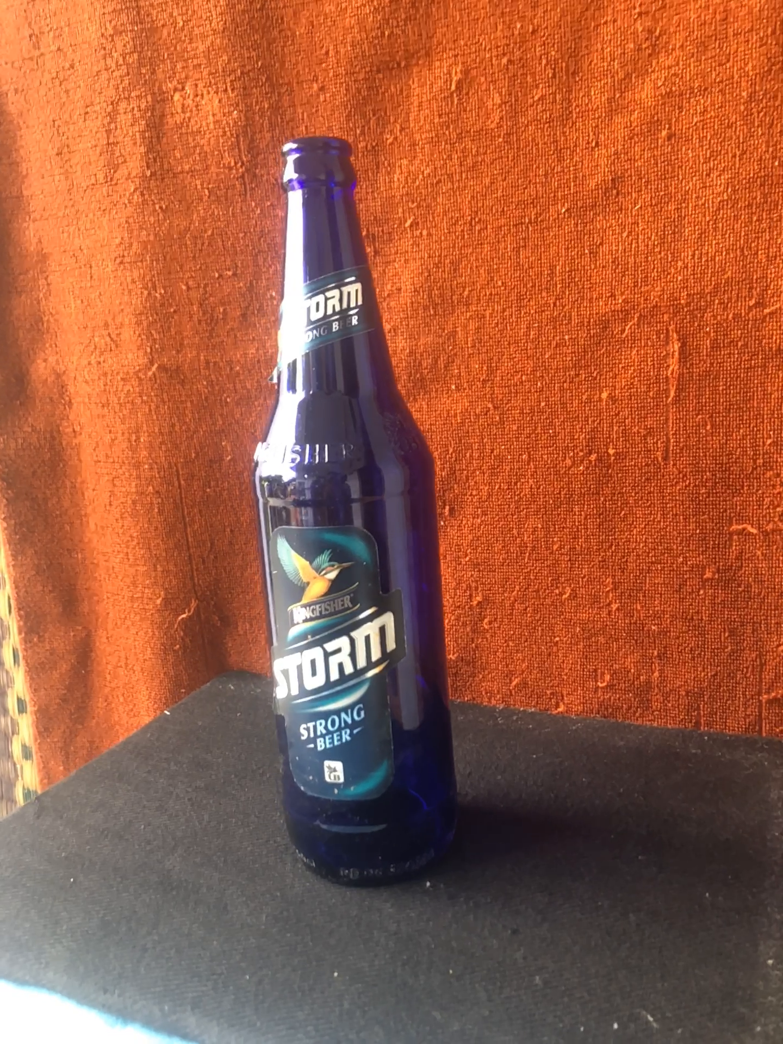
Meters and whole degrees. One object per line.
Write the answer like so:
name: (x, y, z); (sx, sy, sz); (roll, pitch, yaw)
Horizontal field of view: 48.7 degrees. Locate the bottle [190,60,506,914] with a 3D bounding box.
bottle: (-0.005, -0.006, 0.325); (0.080, 0.279, 0.080); (-3, 14, 1)
